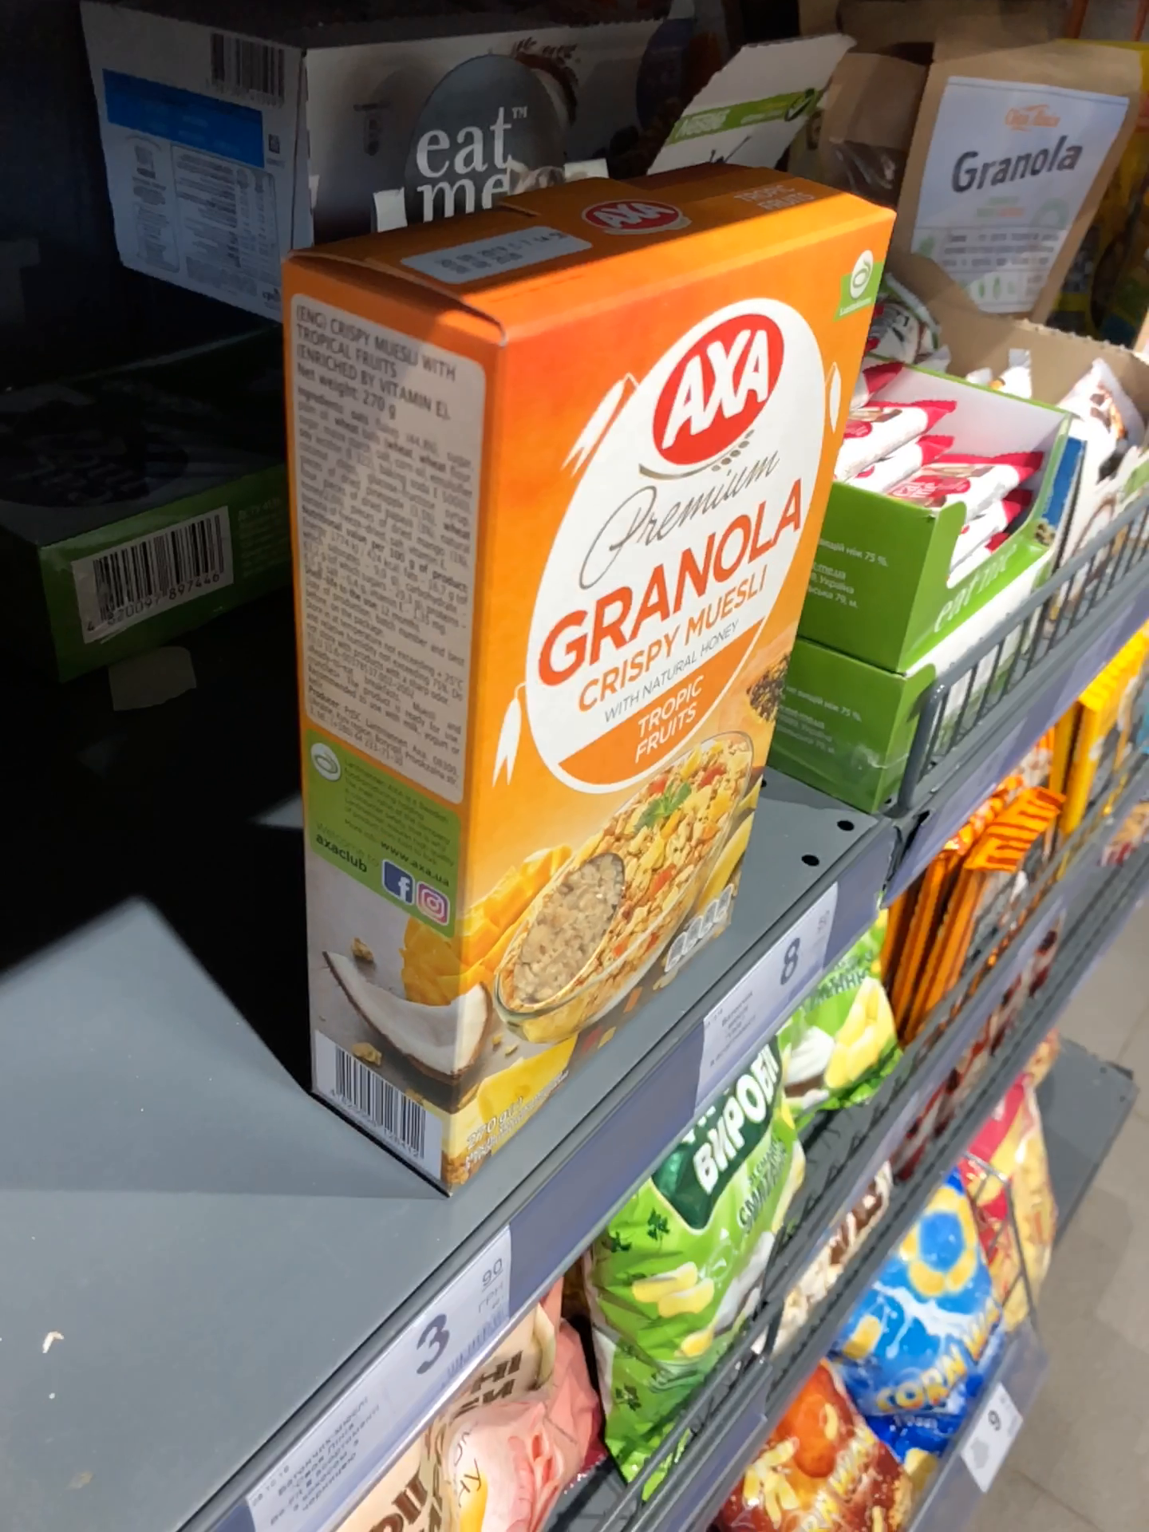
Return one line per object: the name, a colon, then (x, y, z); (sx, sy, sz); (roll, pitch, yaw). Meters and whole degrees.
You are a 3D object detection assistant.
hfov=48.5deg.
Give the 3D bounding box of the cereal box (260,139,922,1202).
cereal box: (0.002, -0.021, 0.298); (0.050, 0.208, 0.141); (28, 41, 26)
